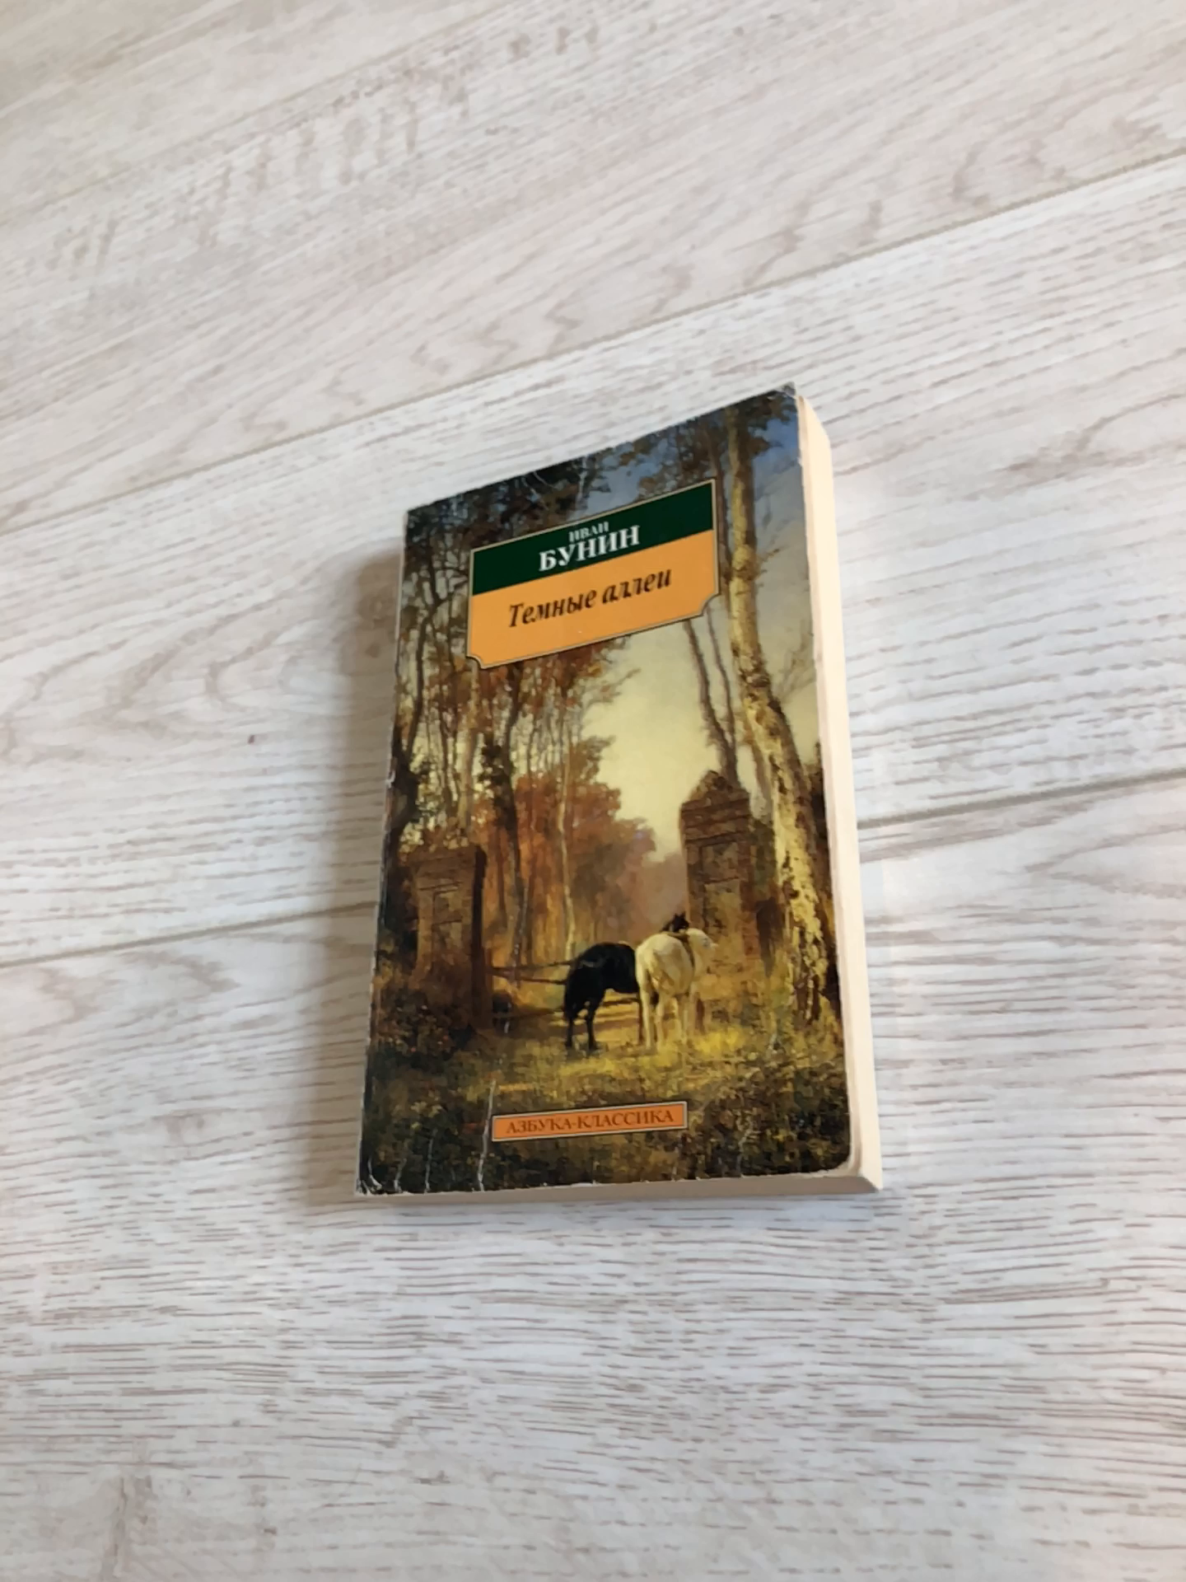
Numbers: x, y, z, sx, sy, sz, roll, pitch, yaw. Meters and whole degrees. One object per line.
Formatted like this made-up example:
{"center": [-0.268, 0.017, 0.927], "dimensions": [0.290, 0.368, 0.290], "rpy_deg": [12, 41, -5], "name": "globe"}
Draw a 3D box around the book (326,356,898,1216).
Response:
{"center": [0.001, -0.001, 0.291], "dimensions": [0.112, 0.024, 0.177], "rpy_deg": [-11, 65, 25], "name": "book"}
